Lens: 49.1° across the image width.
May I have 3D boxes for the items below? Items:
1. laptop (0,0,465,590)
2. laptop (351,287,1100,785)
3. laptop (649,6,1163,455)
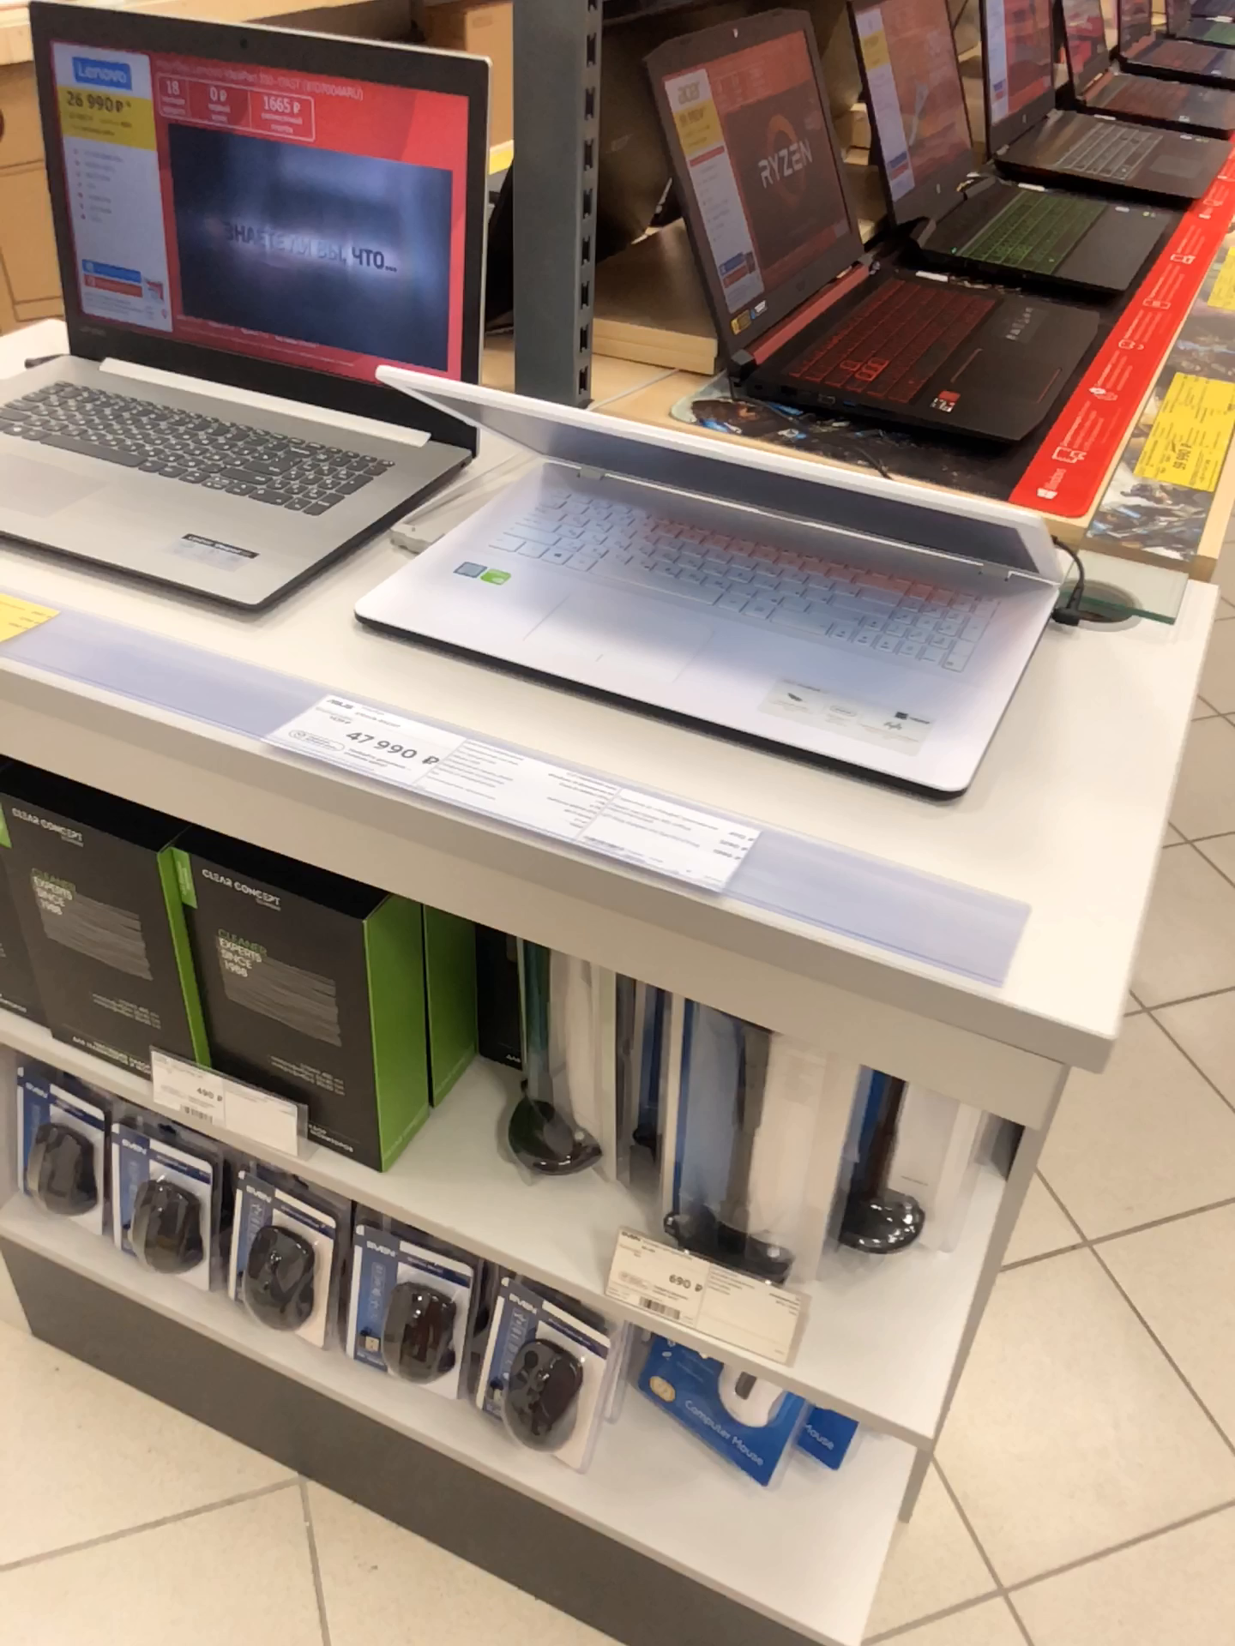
[{"bbox_3d":[-0.351,-0.407,0.975,0.392,0.262,0.338,16,39,16],"label":"laptop"},{"bbox_3d":[0.075,-0.204,0.872,0.391,0.142,0.258,18,39,16],"label":"laptop"},{"bbox_3d":[0.261,-0.567,1.237,0.366,0.220,0.378,21,43,22],"label":"laptop"}]
